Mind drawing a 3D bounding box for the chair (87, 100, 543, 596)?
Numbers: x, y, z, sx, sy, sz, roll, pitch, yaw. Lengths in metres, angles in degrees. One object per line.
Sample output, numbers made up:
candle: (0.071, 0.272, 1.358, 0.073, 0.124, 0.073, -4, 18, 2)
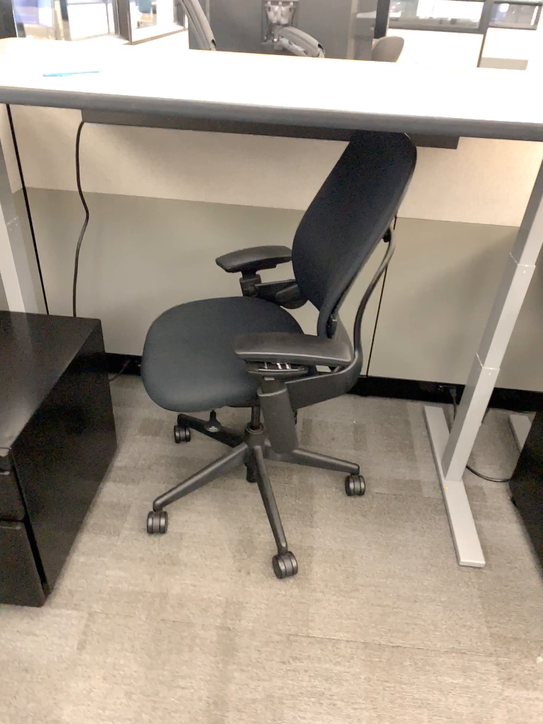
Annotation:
chair: (0.015, -0.065, 1.436, 0.760, 0.954, 0.785, 0, 33, -9)
